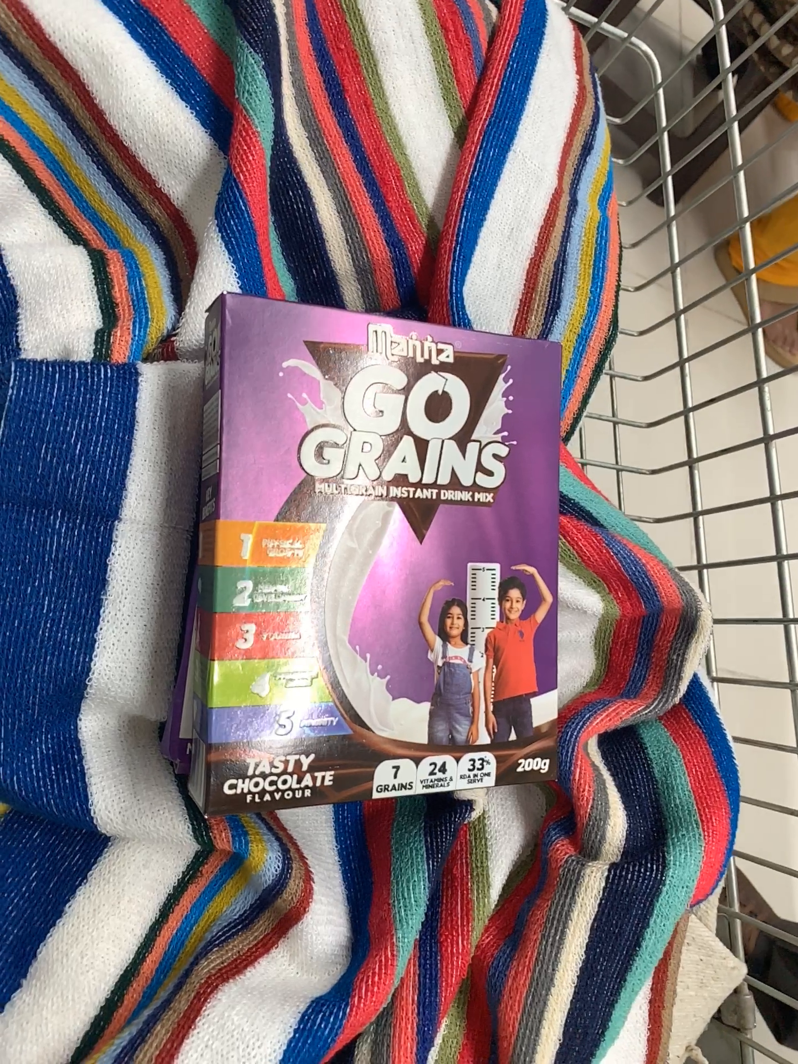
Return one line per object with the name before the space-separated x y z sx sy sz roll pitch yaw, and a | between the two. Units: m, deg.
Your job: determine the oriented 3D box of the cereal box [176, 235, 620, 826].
cereal box | 0.002 0.002 0.288 0.140 0.050 0.170 3 89 -26
